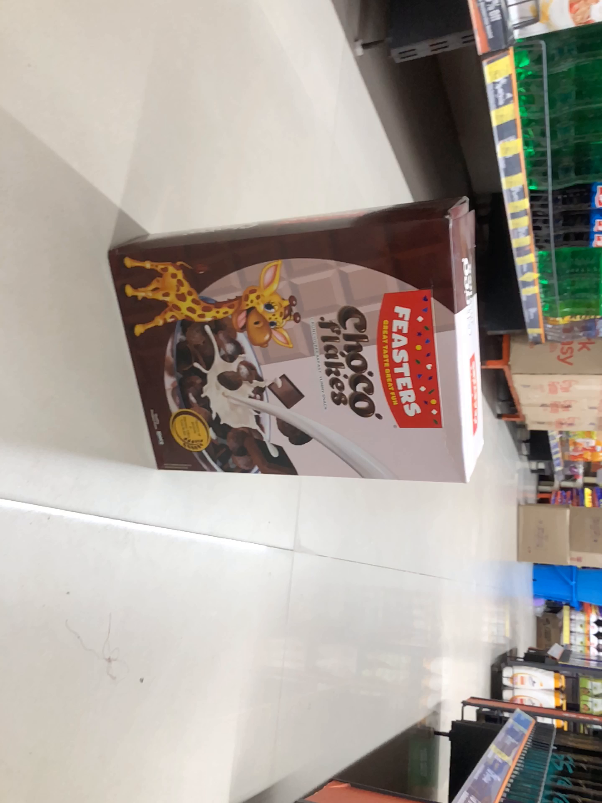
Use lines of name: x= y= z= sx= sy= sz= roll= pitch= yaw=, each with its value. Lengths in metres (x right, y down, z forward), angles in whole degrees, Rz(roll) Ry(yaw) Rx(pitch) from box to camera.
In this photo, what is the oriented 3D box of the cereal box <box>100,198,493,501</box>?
cereal box: x=-0.002 y=-0.031 z=0.501 sx=0.050 sy=0.268 sz=0.200 roll=-46 pitch=131 yaw=-61
